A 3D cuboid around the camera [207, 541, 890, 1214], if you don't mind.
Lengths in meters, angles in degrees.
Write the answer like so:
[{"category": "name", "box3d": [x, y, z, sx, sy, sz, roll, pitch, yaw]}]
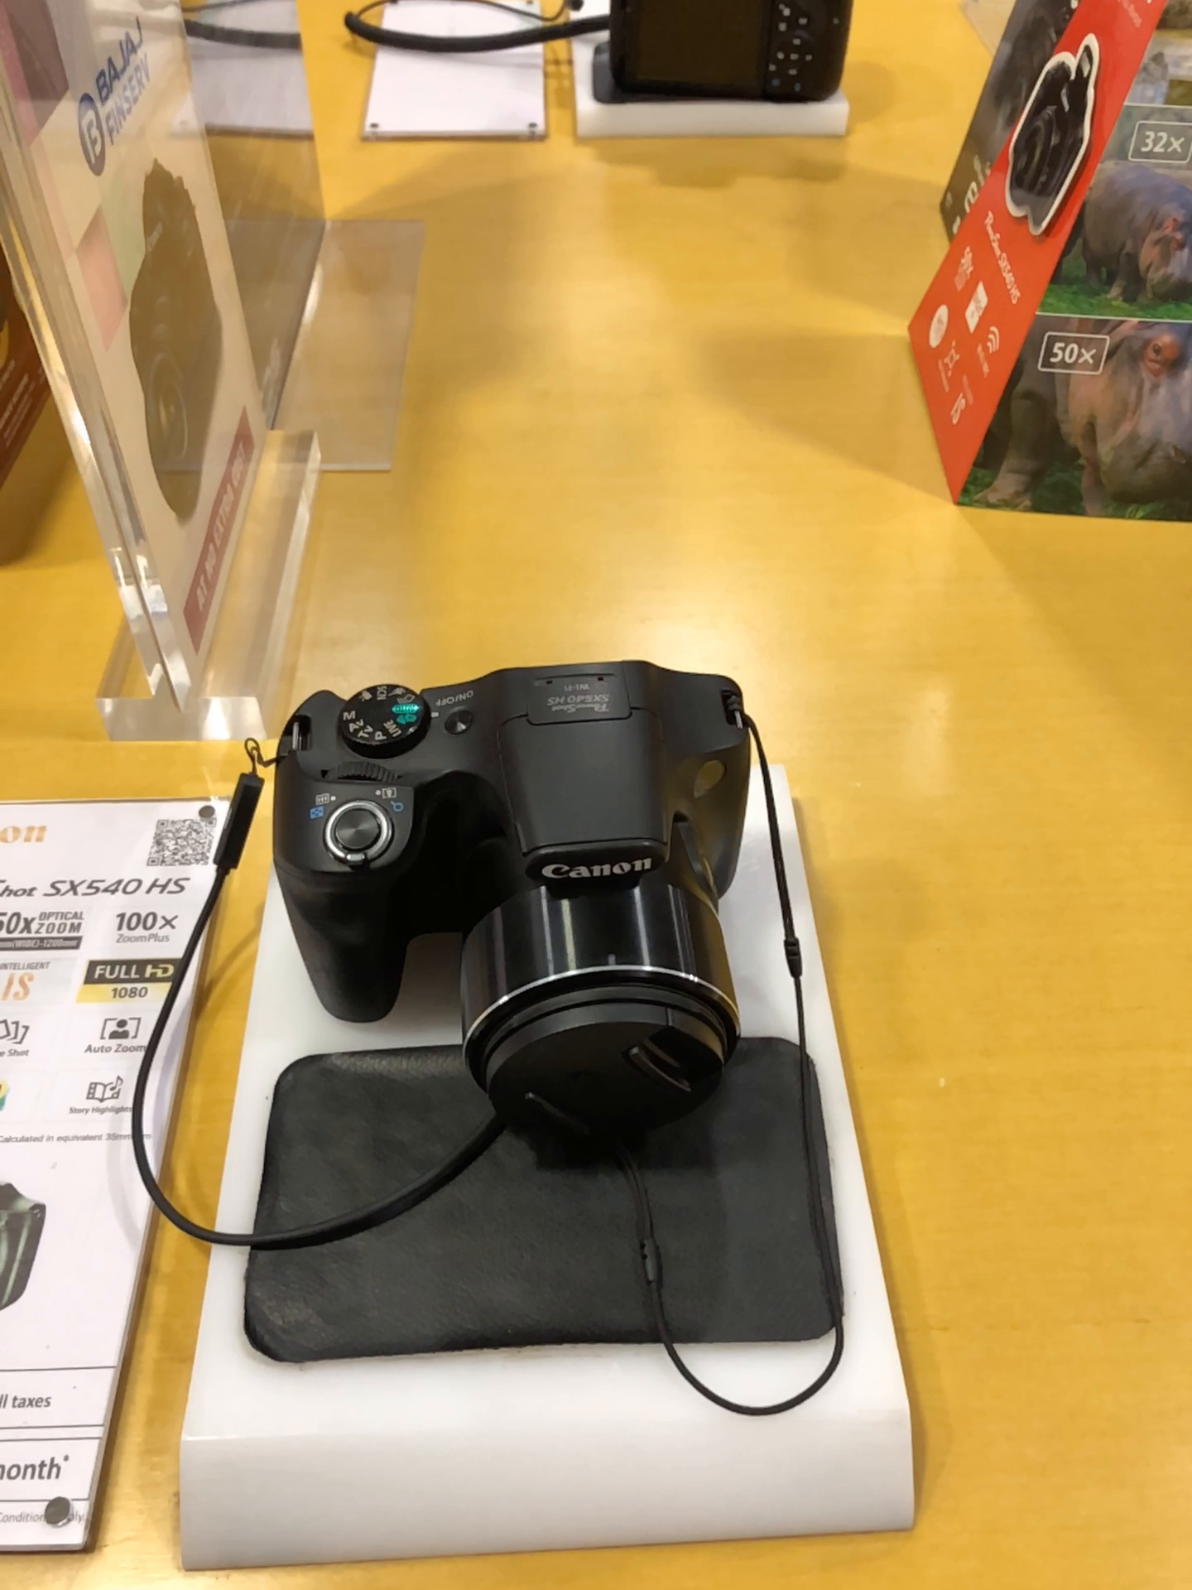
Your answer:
[{"category": "camera", "box3d": [-0.015, 0.016, 0.327, 0.130, 0.089, 0.131, -4, 48, -5]}]
